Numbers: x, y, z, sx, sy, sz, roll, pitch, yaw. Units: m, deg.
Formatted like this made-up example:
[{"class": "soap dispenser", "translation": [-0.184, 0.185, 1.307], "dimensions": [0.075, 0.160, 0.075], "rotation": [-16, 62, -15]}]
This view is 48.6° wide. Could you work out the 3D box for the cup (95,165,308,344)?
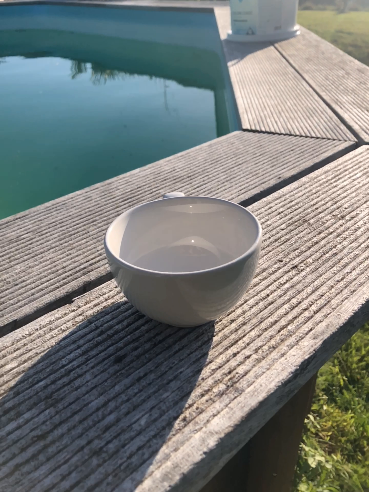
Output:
[{"class": "cup", "translation": [0.000, -0.005, 0.256], "dimensions": [0.104, 0.038, 0.121], "rotation": [-7, 35, -7]}]
